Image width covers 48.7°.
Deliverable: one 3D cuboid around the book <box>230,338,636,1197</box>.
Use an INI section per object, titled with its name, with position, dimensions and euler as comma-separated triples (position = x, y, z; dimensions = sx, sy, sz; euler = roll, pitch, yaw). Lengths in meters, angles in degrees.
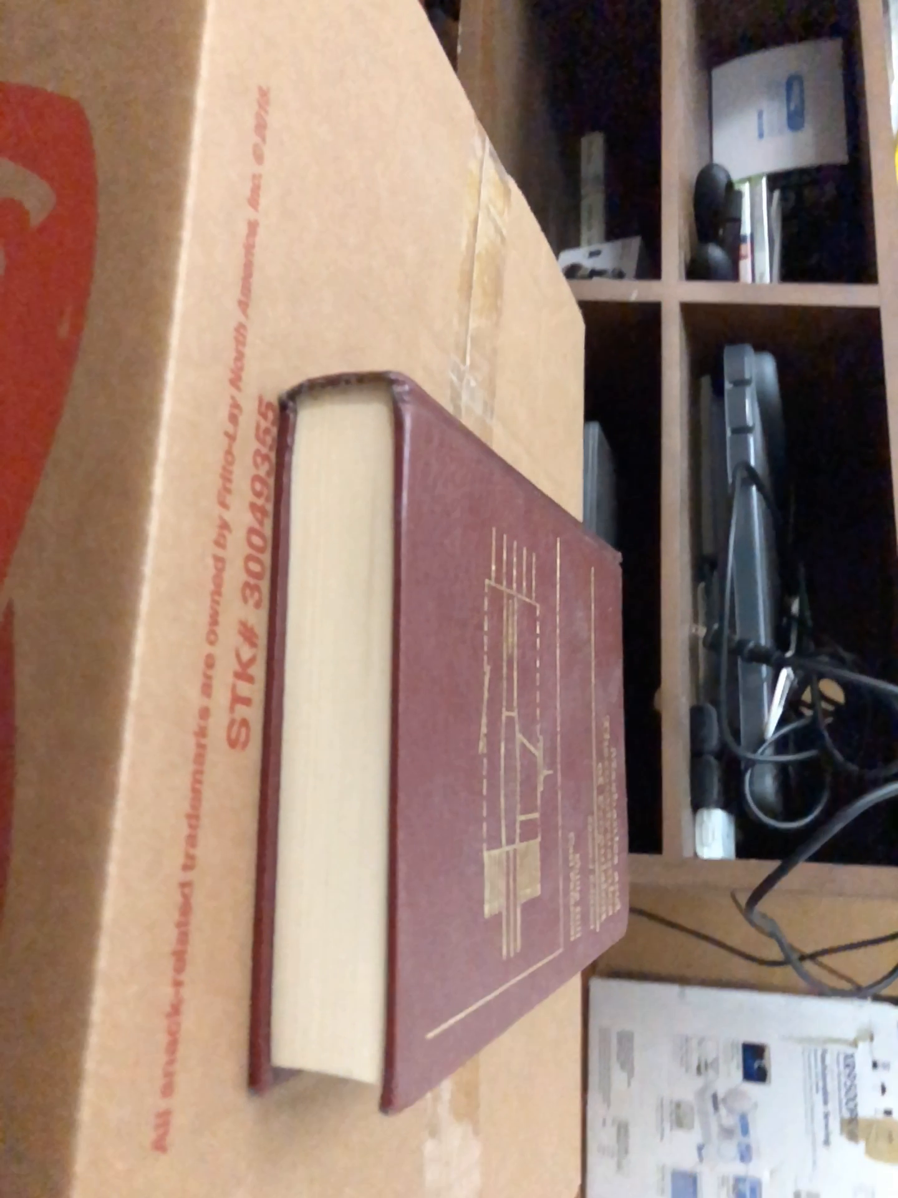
[book]
position = 0.017, 0.053, 0.334
dimensions = 0.241, 0.040, 0.190
euler = 24, 64, -66
